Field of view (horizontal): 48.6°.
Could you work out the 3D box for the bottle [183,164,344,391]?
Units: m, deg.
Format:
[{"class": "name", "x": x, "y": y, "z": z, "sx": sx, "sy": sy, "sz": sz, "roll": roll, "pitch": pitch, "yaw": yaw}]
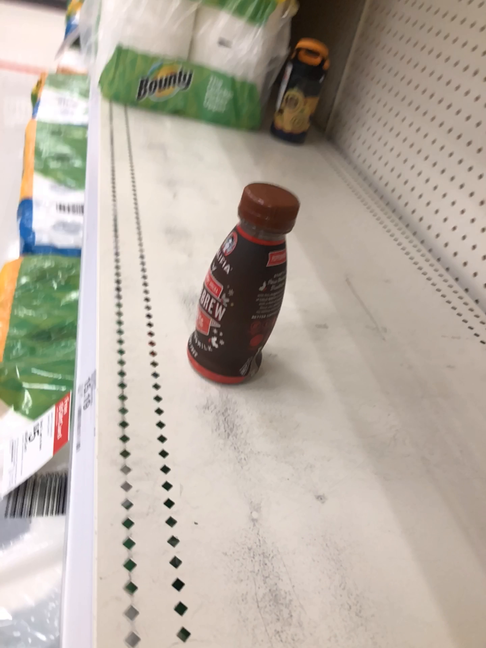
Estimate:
[{"class": "bottle", "x": 0.006, "y": -0.030, "z": 0.409, "sx": 0.080, "sy": 0.149, "sz": 0.070, "roll": 6, "pitch": 36, "yaw": -13}]
